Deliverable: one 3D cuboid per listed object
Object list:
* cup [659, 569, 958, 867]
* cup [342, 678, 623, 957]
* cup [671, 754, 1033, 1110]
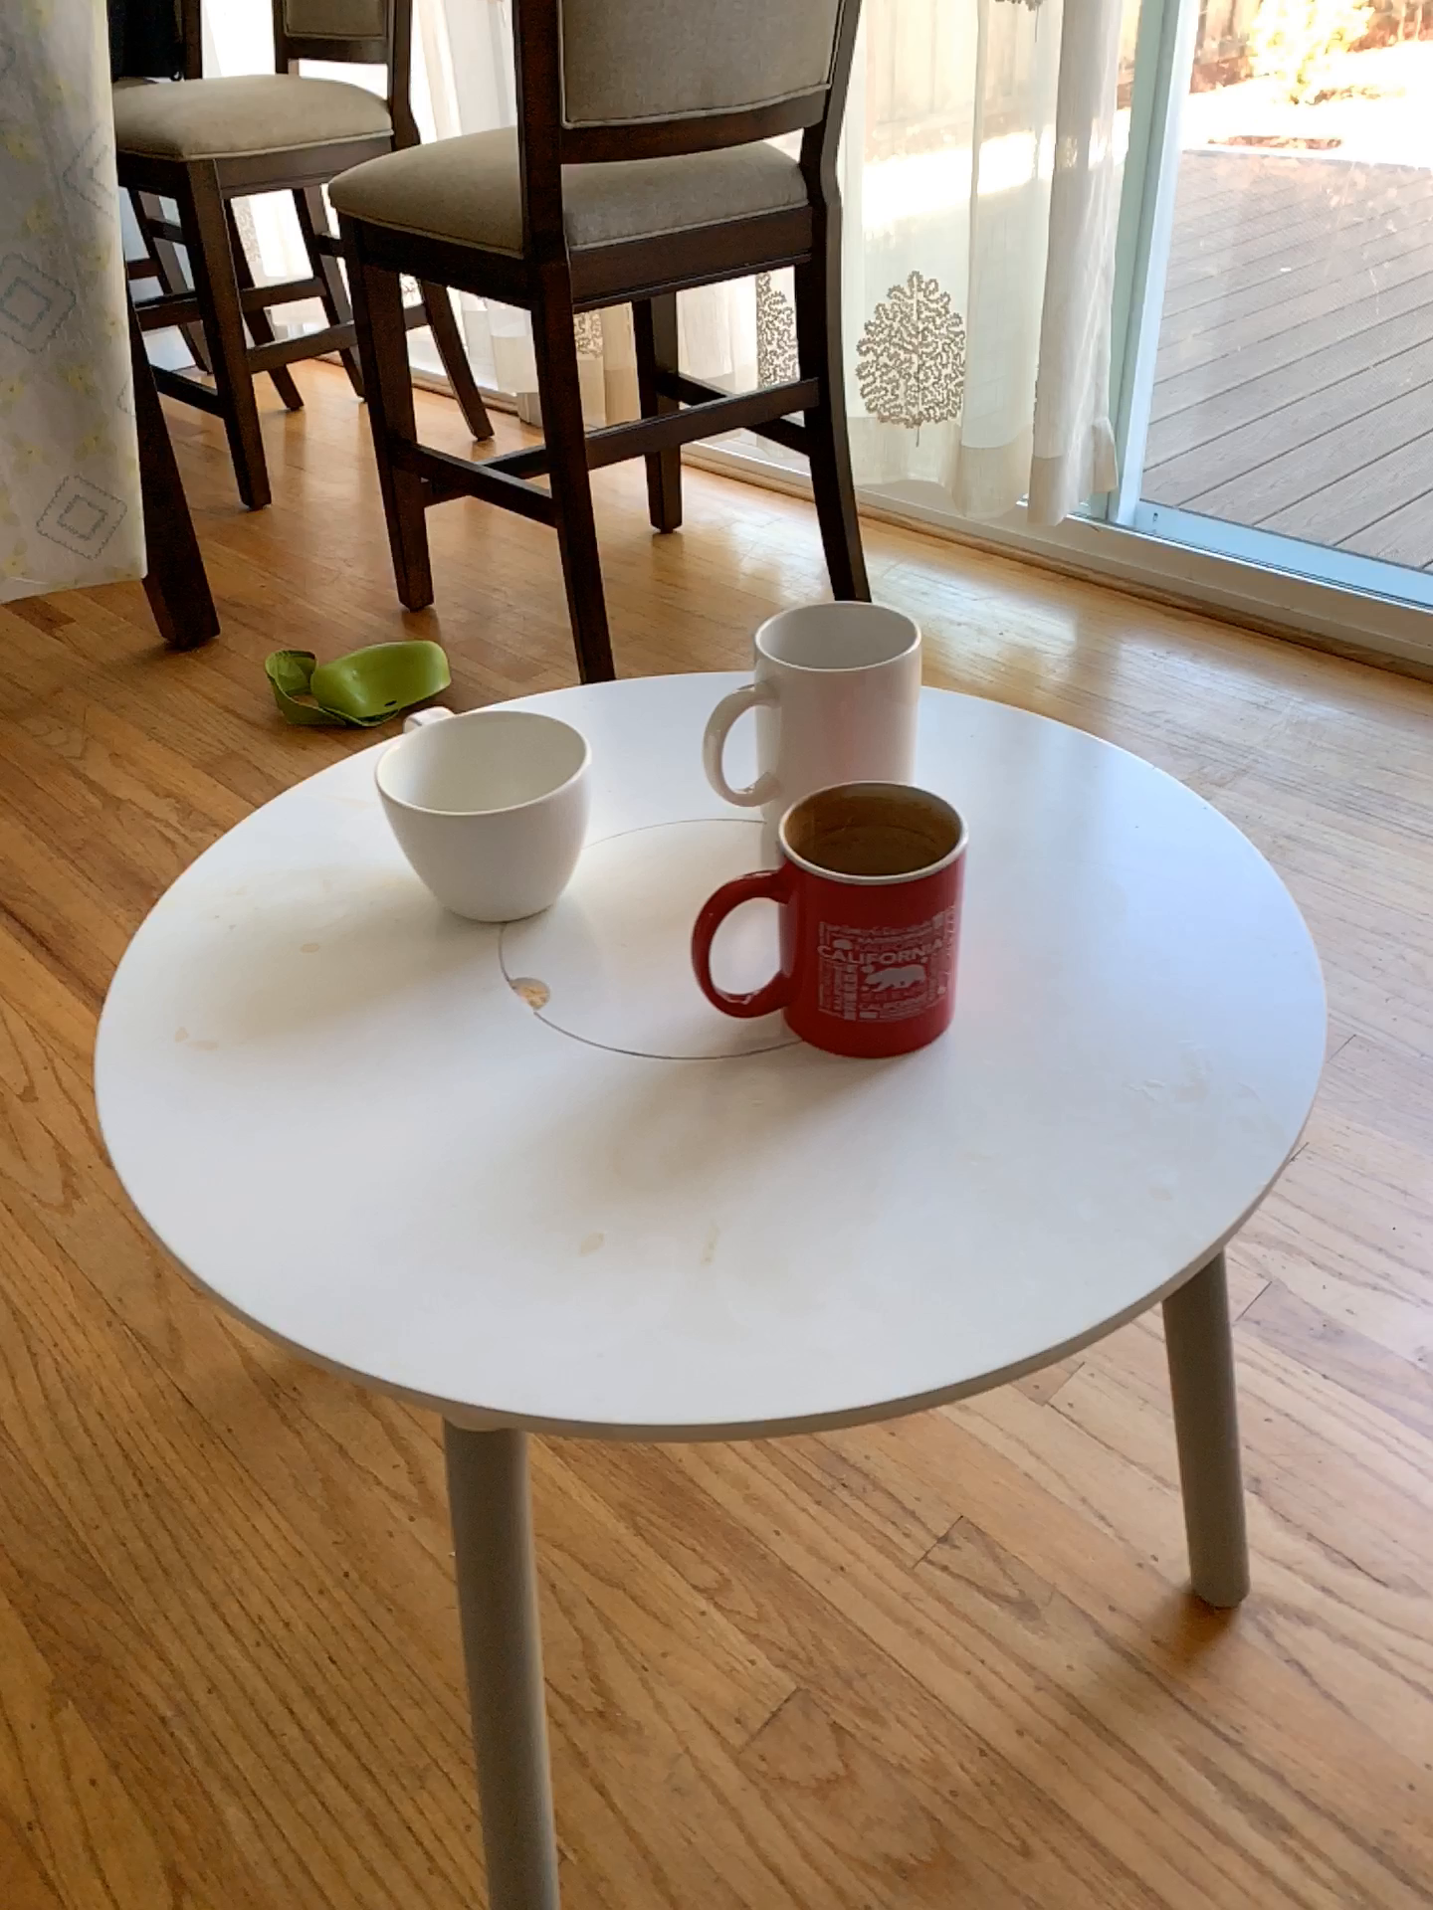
[{"bbox_3d":[0.047,-0.126,0.762,0.120,0.099,0.091,-19,39,-21],"label":"cup"},{"bbox_3d":[-0.123,-0.076,0.761,0.110,0.070,0.131,-14,38,-15],"label":"cup"},{"bbox_3d":[0.058,-0.013,0.649,0.130,0.099,0.080,-17,38,-18],"label":"cup"}]
